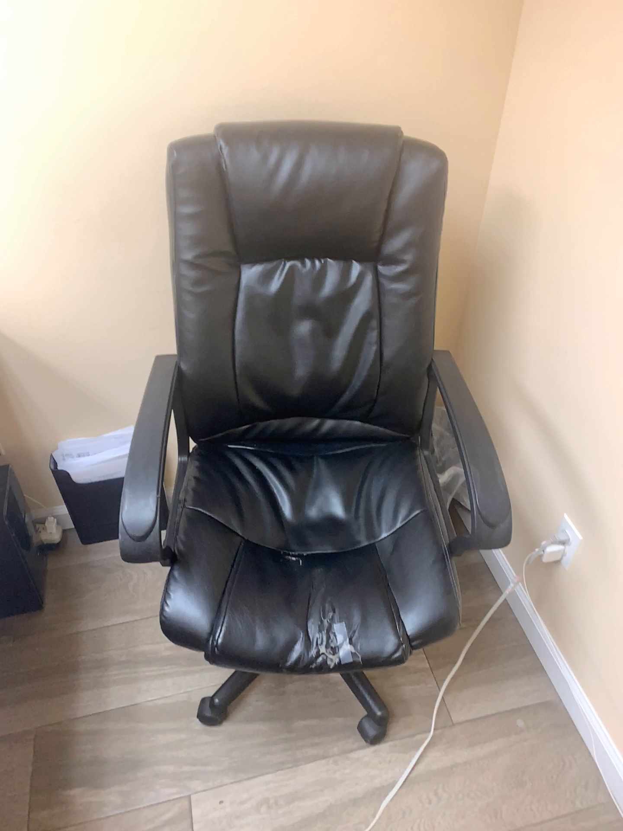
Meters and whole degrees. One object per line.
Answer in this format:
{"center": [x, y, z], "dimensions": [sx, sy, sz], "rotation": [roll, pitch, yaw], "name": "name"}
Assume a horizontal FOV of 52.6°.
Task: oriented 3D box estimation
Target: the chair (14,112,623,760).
{"center": [0.020, 0.095, 1.205], "dimensions": [0.648, 1.083, 0.630], "rotation": [0, 40, -1], "name": "chair"}
